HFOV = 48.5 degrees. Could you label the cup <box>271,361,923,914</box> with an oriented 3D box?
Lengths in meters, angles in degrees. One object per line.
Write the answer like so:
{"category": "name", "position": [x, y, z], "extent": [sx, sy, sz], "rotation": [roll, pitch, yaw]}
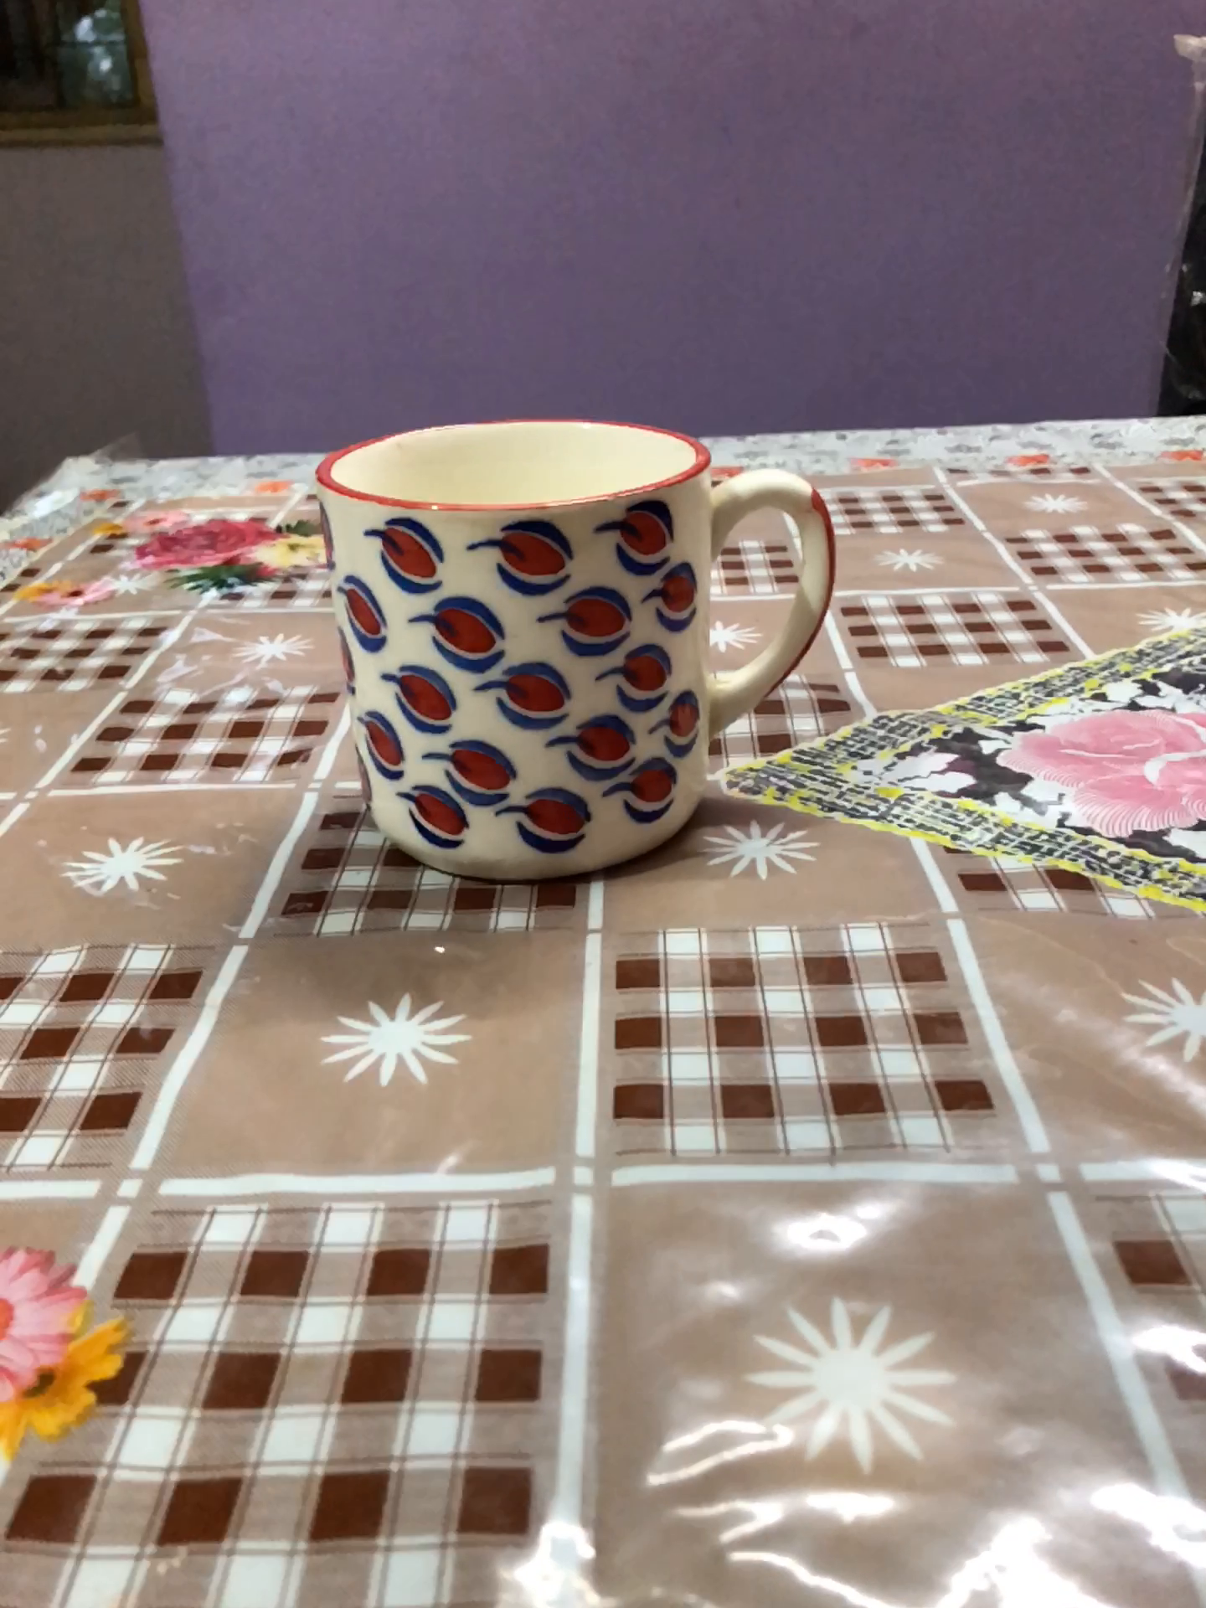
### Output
{"category": "cup", "position": [-0.005, -0.040, 0.274], "extent": [0.110, 0.080, 0.080], "rotation": [-7, 27, -10]}
